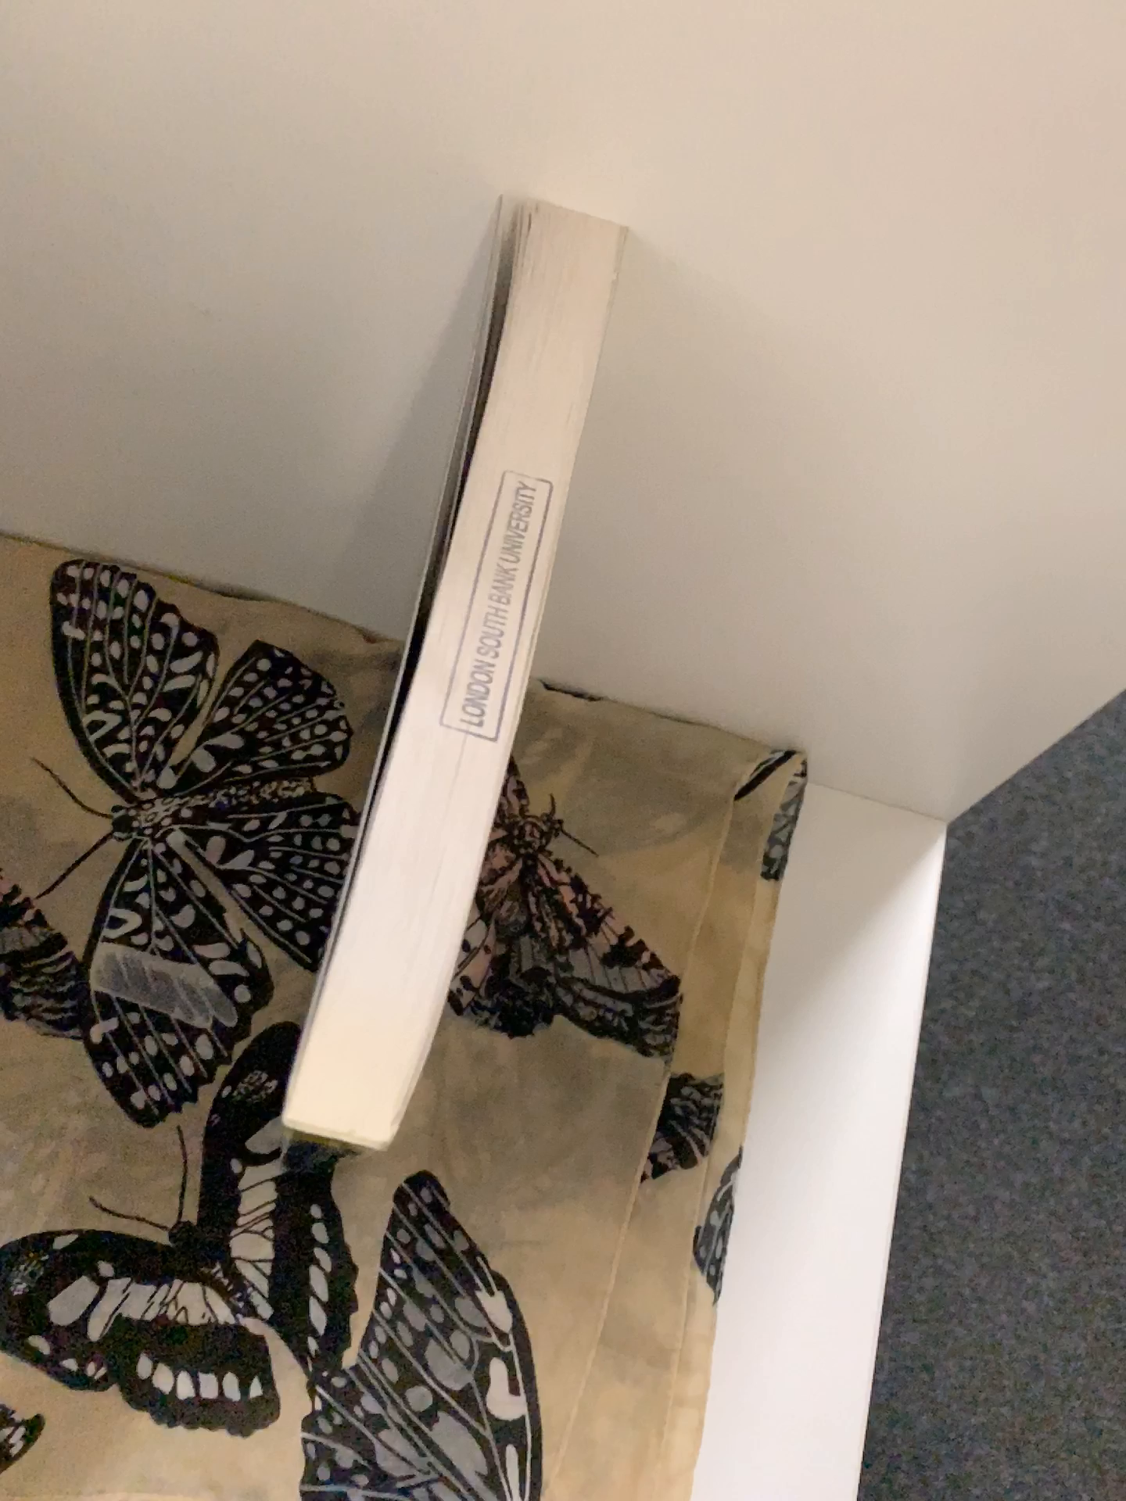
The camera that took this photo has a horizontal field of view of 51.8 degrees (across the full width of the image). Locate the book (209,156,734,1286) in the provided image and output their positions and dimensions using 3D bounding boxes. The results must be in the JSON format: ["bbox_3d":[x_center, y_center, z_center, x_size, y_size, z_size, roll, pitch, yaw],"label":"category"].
[{"bbox_3d":[-0.035,0.018,0.329,0.052,0.250,0.220,15,67,-8],"label":"book"}]
